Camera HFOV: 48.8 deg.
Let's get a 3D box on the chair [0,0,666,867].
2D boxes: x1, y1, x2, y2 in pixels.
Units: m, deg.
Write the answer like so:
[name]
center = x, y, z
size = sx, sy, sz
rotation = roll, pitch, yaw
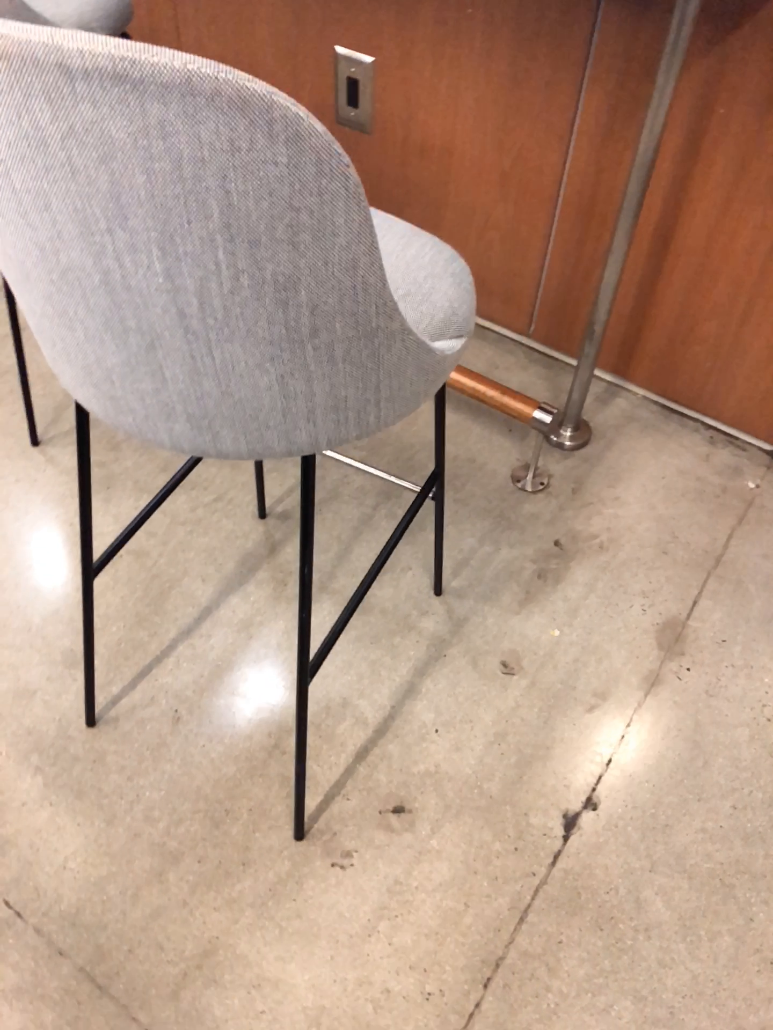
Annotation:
[chair]
center = -0.126, -0.138, 1.057
size = 0.461, 1.096, 0.622
rotation = 24, 53, 16
